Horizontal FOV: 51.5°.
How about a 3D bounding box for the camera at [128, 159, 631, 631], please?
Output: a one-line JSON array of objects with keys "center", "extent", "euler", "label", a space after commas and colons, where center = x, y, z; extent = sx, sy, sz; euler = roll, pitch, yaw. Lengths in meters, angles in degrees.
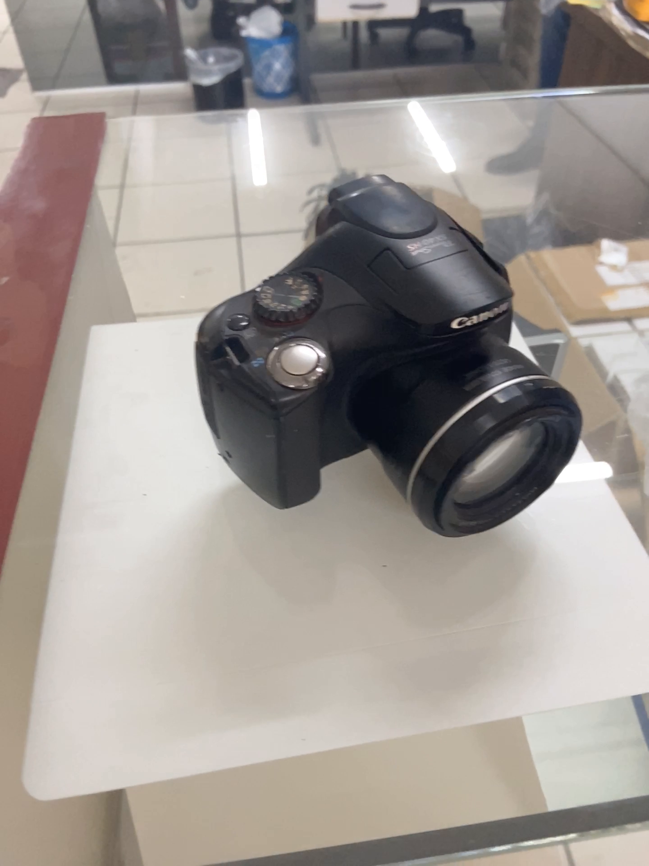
[{"center": [0.013, -0.026, 0.272], "extent": [0.120, 0.089, 0.141], "euler": [-25, 50, -21], "label": "camera"}]
